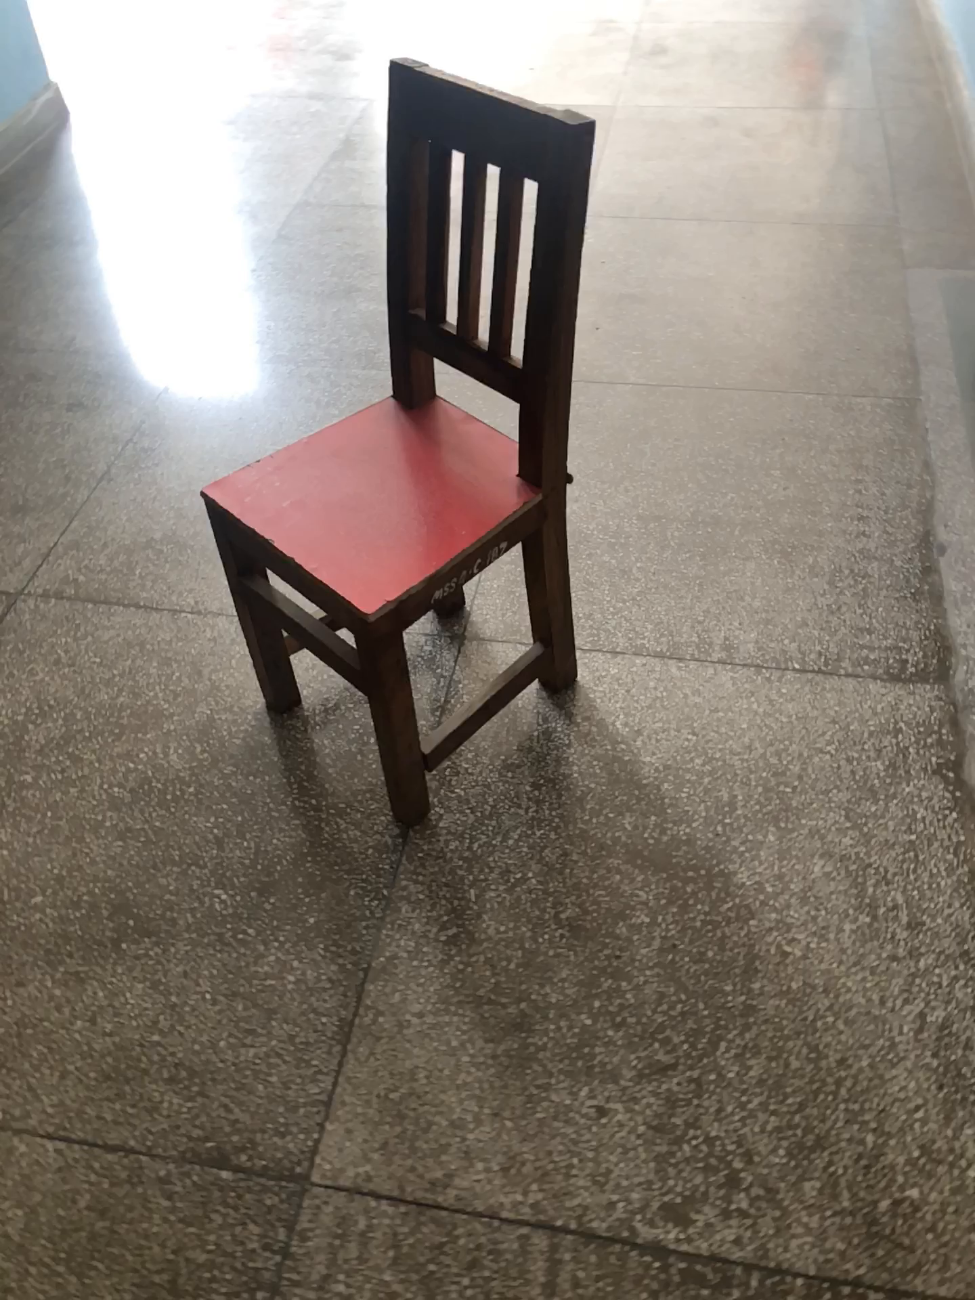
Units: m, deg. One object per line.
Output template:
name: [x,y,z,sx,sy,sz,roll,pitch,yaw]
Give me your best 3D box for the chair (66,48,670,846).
chair: [-0.110,-0.234,1.409,0.401,0.817,0.481,35,57,30]
